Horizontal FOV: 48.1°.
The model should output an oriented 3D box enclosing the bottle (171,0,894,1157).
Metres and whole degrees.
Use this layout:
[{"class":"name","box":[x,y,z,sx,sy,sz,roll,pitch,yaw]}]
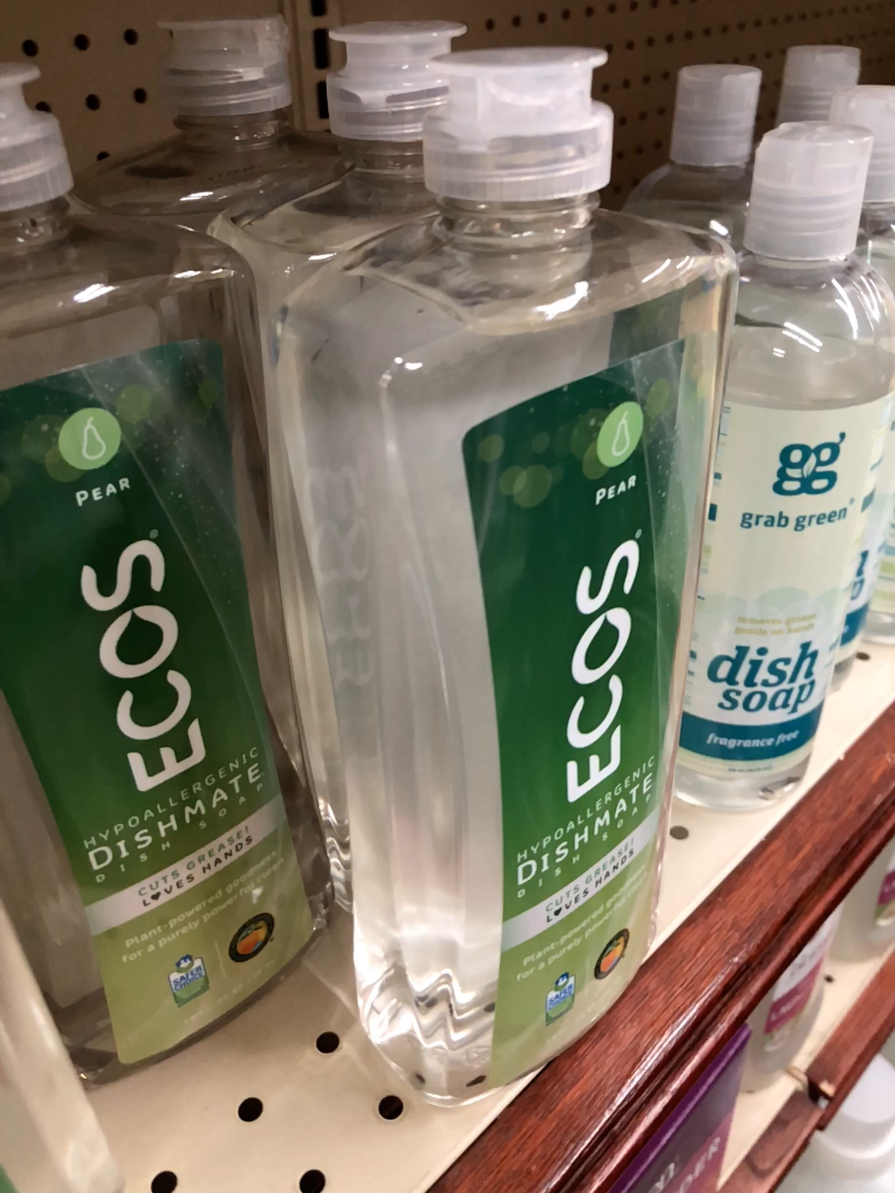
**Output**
[{"class":"bottle","box":[0.016,0.009,0.205,0.092,0.226,0.050,-27,44,-32]}]
